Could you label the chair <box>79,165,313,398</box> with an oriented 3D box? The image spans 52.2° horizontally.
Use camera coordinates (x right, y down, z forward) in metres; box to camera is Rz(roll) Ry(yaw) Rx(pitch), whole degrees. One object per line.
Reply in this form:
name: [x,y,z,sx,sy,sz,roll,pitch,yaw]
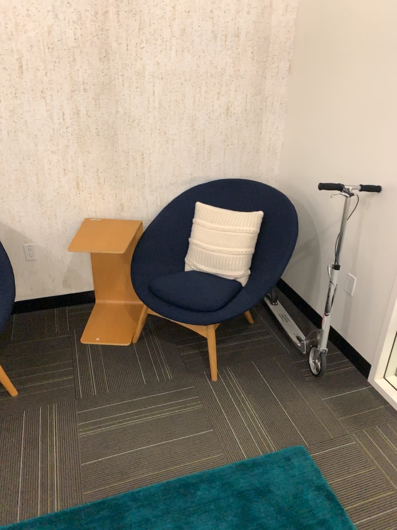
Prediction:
chair: [0.018,-0.011,2.295,0.892,0.816,0.883,16,30,28]
